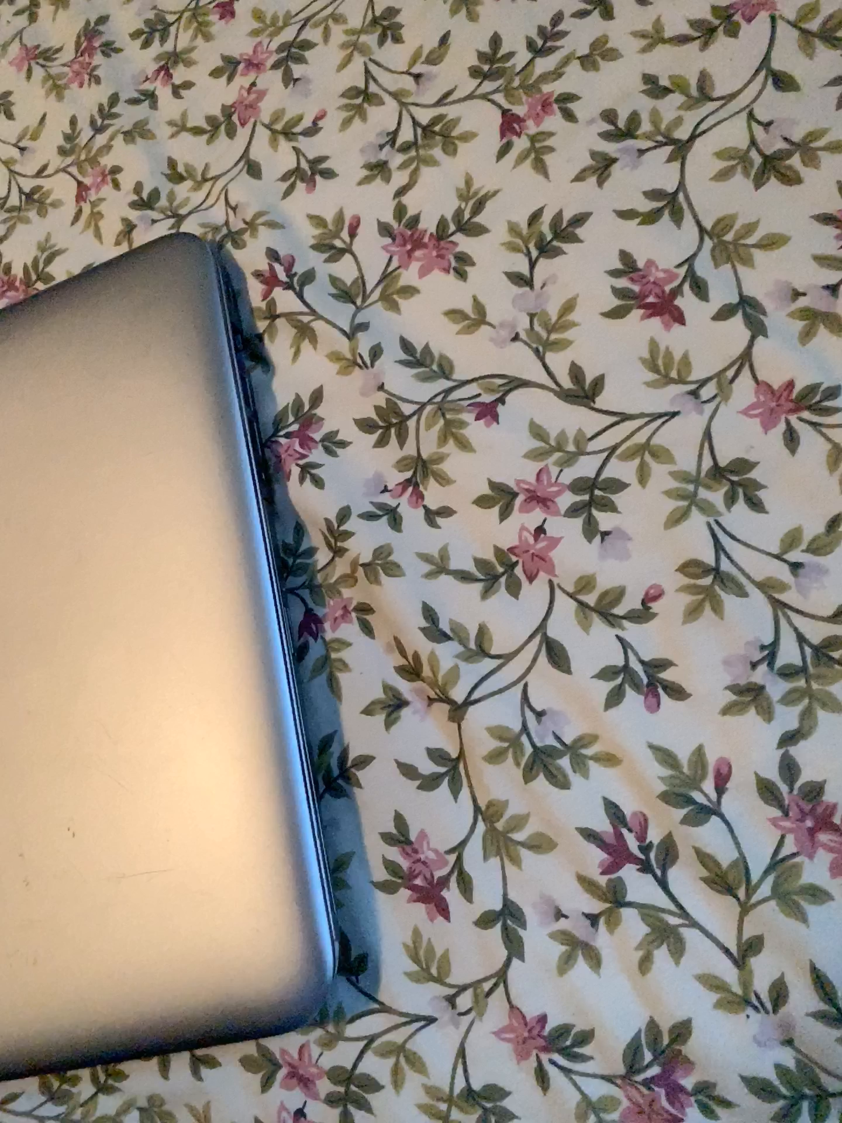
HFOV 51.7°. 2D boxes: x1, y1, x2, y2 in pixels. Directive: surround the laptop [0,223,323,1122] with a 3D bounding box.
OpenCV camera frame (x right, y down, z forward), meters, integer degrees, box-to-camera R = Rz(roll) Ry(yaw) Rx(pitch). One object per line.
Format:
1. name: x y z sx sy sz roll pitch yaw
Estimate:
1. laptop: -0.205 0.049 0.287 0.337 0.010 0.229 -18 71 15
